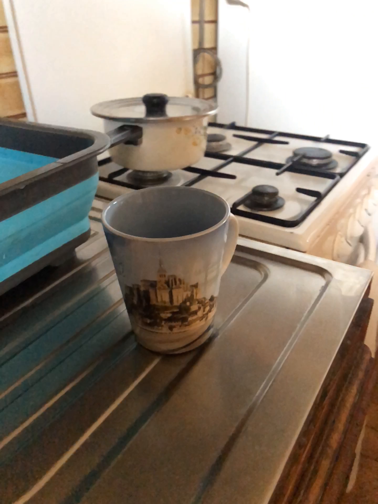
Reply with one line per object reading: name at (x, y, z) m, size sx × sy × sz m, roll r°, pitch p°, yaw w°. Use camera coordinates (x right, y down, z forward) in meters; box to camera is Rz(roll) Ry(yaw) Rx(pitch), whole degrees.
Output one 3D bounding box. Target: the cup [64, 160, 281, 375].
cup at (-0.007, 0.000, 0.334) m, size 0.100 × 0.099 × 0.131 m, roll 21°, pitch 36°, yaw 34°
